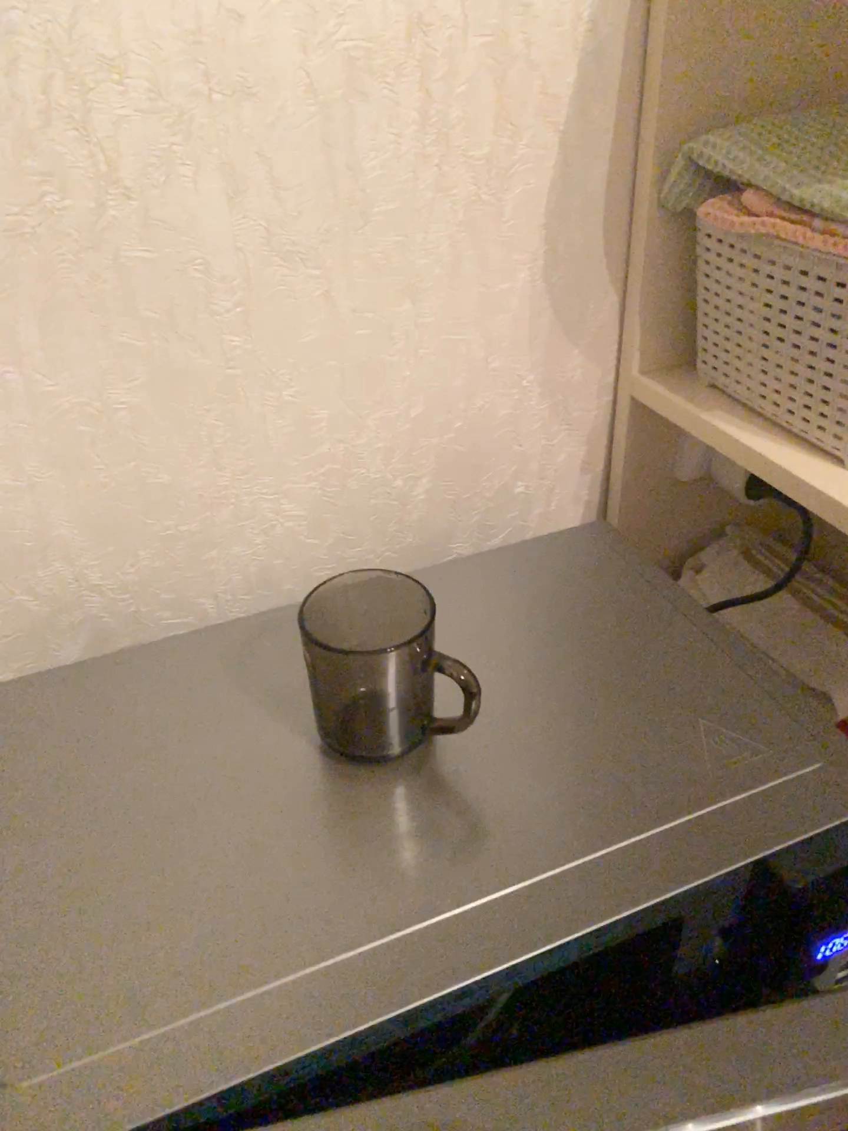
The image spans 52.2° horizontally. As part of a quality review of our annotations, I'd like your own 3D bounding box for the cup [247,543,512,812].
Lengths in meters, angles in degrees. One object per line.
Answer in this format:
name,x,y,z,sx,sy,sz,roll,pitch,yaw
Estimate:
cup,-0.021,0.056,0.466,0.110,0.079,0.081,19,40,28
